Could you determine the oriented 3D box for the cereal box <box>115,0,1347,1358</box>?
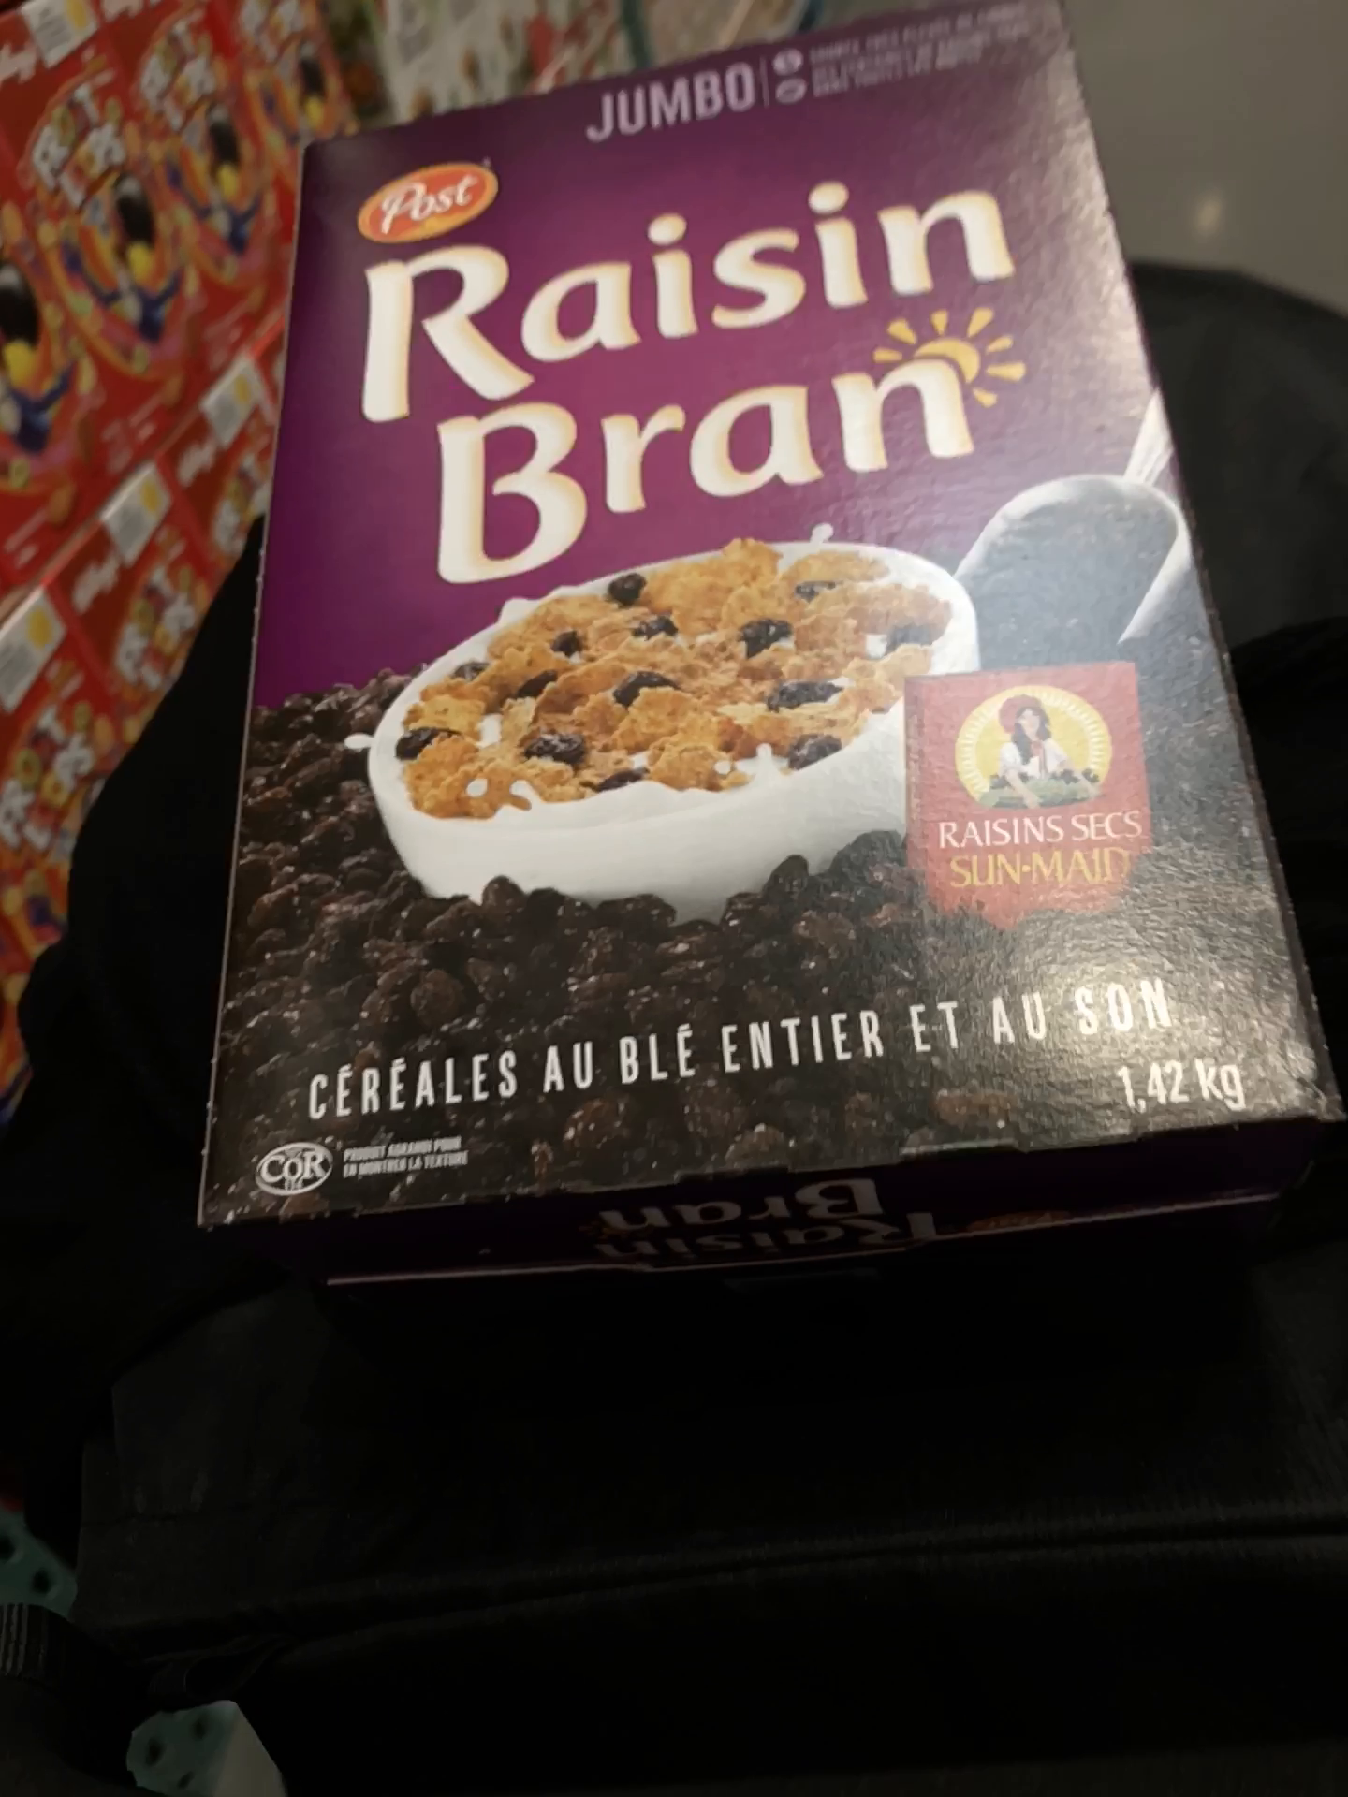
[{"bbox_3d":[0.010,-0.058,0.353,0.210,0.110,0.291,-8,64,11],"label":"cereal box"}]
